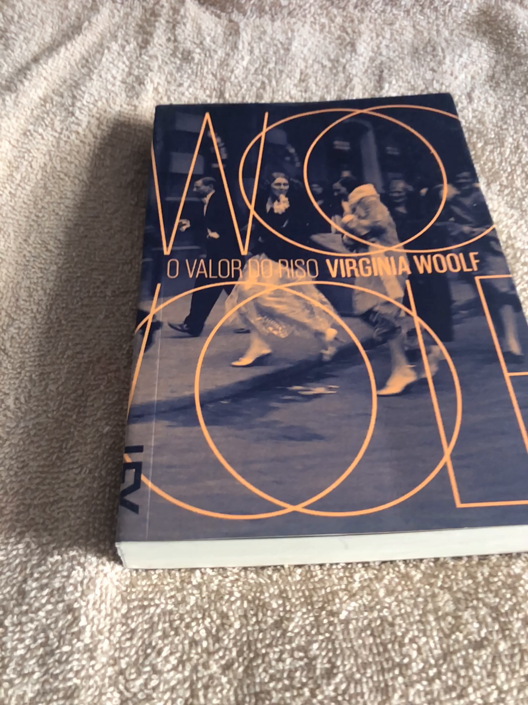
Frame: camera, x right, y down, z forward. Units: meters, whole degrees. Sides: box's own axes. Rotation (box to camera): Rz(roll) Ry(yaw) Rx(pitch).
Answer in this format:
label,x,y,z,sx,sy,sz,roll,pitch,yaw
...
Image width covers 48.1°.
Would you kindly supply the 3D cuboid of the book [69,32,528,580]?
label,x,y,z,sx,sy,sz,roll,pitch,yaw
book,0.021,-0.028,0.207,0.140,0.050,0.191,0,60,-5
